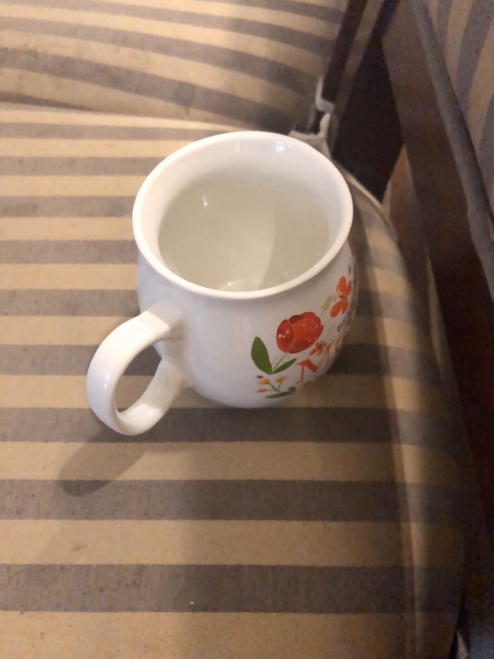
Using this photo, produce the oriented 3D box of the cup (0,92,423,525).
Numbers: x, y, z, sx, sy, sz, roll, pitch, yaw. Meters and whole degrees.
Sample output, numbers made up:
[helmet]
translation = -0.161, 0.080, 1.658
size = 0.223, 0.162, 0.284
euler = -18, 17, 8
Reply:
[cup]
translation = -0.017, -0.013, 0.252
size = 0.110, 0.090, 0.140
euler = 36, 64, 19
